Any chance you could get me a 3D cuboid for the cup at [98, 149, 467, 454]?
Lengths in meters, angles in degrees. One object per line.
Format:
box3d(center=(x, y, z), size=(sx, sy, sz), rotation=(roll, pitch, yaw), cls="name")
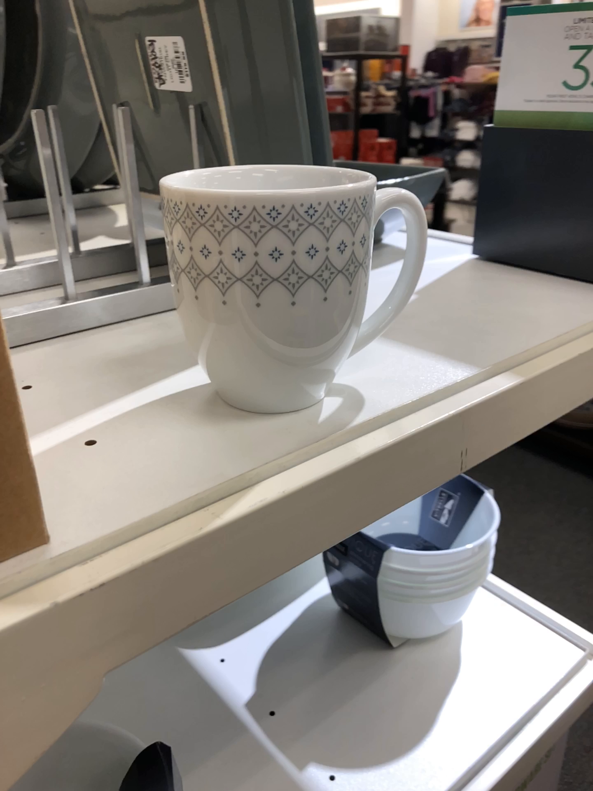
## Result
box3d(center=(-0.008, -0.056, 0.320), size=(0.136, 0.099, 0.099), rotation=(-15, 31, -24), cls="cup")
